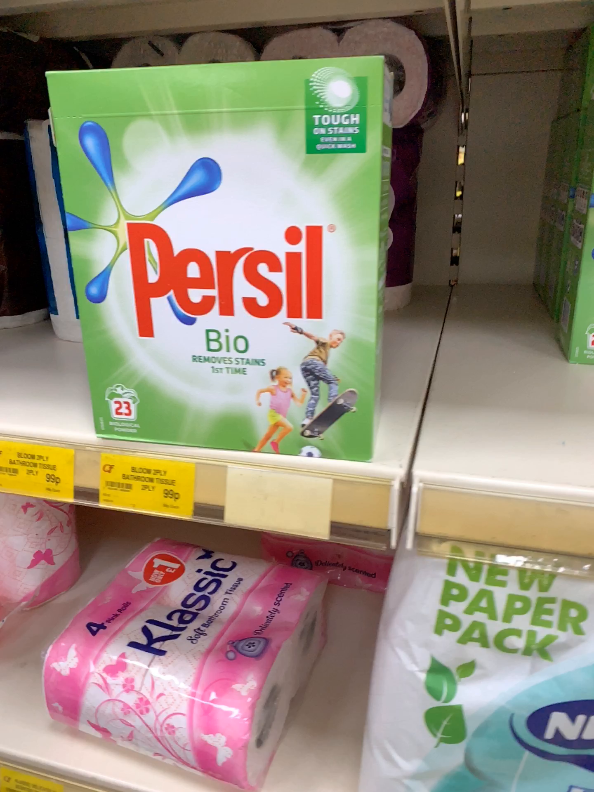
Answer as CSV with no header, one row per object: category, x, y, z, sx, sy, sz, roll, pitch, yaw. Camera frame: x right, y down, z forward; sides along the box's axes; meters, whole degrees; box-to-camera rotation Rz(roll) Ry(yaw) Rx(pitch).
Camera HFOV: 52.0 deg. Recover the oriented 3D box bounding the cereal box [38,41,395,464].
cereal box,-0.042,-0.091,0.415,0.200,0.238,0.091,4,20,14
